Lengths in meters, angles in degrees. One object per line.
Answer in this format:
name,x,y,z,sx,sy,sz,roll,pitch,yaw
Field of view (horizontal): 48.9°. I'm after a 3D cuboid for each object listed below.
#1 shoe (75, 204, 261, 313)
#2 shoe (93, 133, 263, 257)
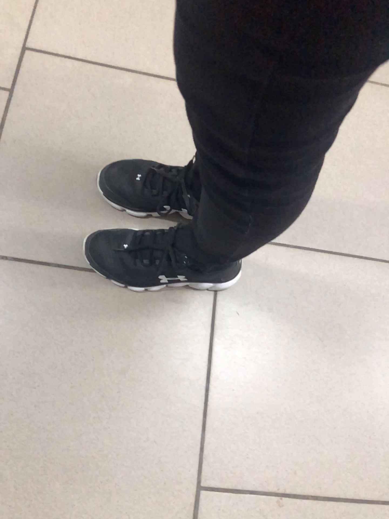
shoe,-0.041,0.003,0.691,0.270,0.090,0.110,10,71,-7
shoe,-0.029,-0.106,0.738,0.260,0.090,0.110,17,71,-5
